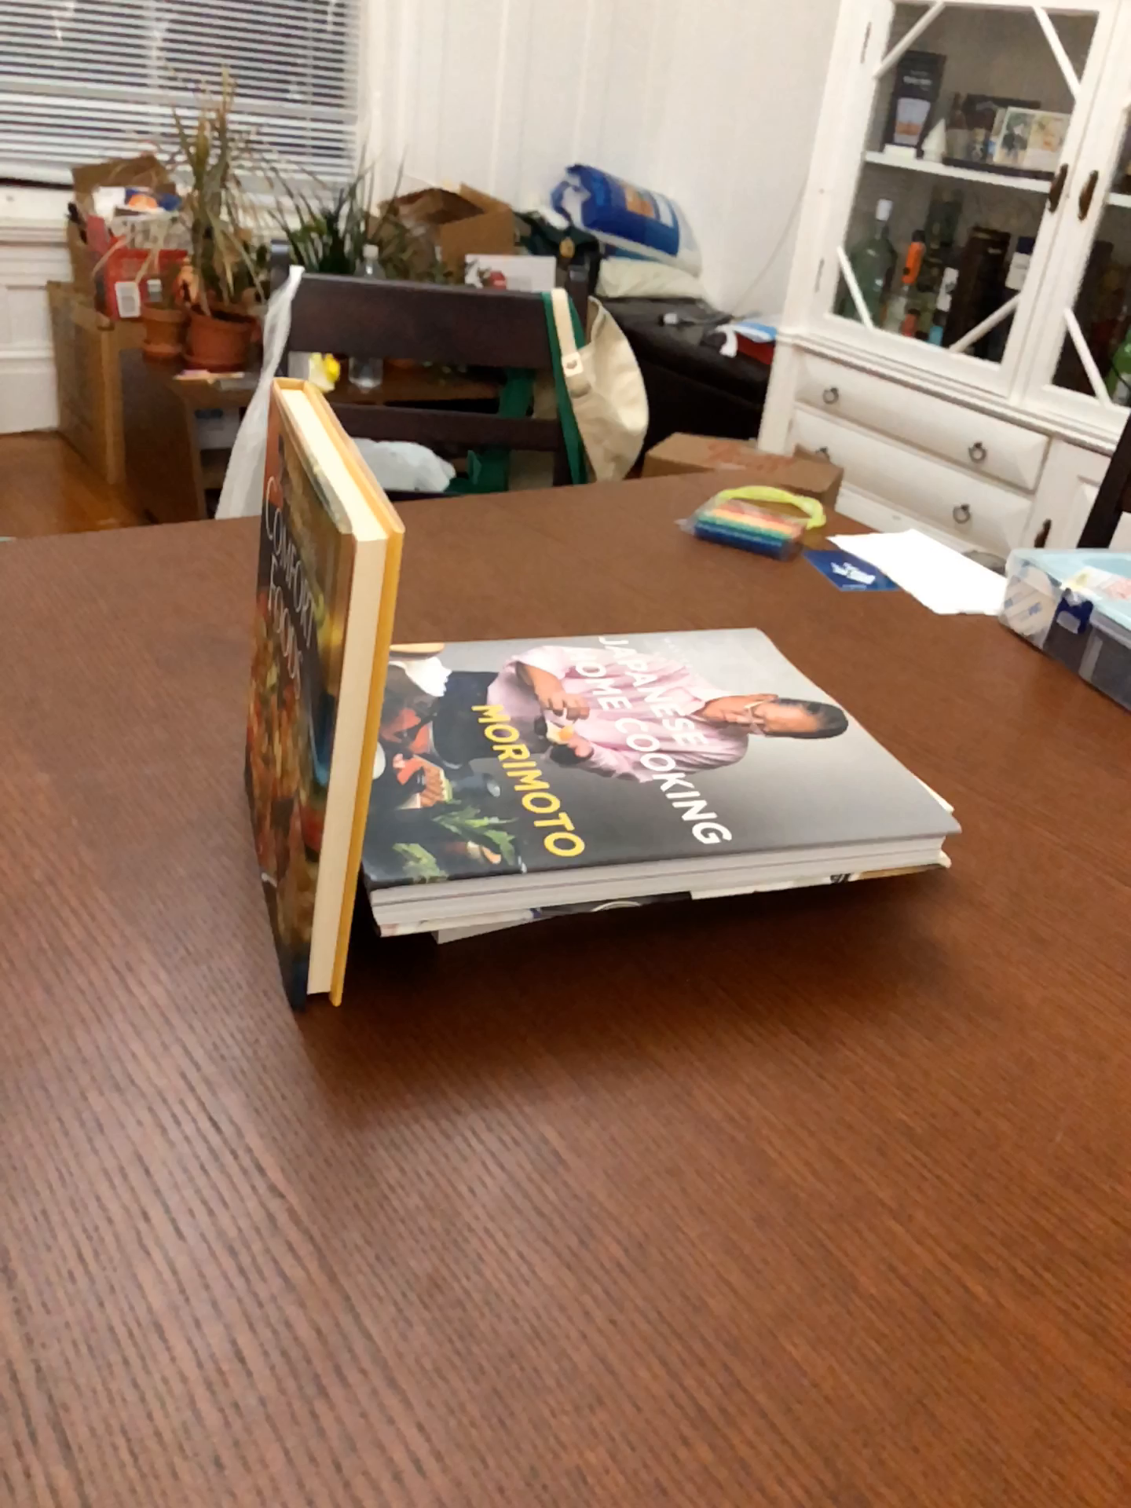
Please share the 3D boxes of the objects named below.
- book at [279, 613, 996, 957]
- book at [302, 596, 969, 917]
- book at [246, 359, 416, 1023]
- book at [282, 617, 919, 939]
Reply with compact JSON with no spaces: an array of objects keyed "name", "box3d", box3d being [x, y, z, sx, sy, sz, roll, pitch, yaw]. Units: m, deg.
[{"name":"book","box3d":[0.021,-0.003,0.601,0.280,0.030,0.221,-6,31,-20]},{"name":"book","box3d":[0.028,-0.016,0.658,0.280,0.030,0.221,-8,32,-24]},{"name":"book","box3d":[-0.110,-0.037,0.538,0.030,0.209,0.211,-1,31,-19]},{"name":"book","box3d":[0.012,-0.005,0.691,0.281,0.030,0.221,-10,33,-26]}]
